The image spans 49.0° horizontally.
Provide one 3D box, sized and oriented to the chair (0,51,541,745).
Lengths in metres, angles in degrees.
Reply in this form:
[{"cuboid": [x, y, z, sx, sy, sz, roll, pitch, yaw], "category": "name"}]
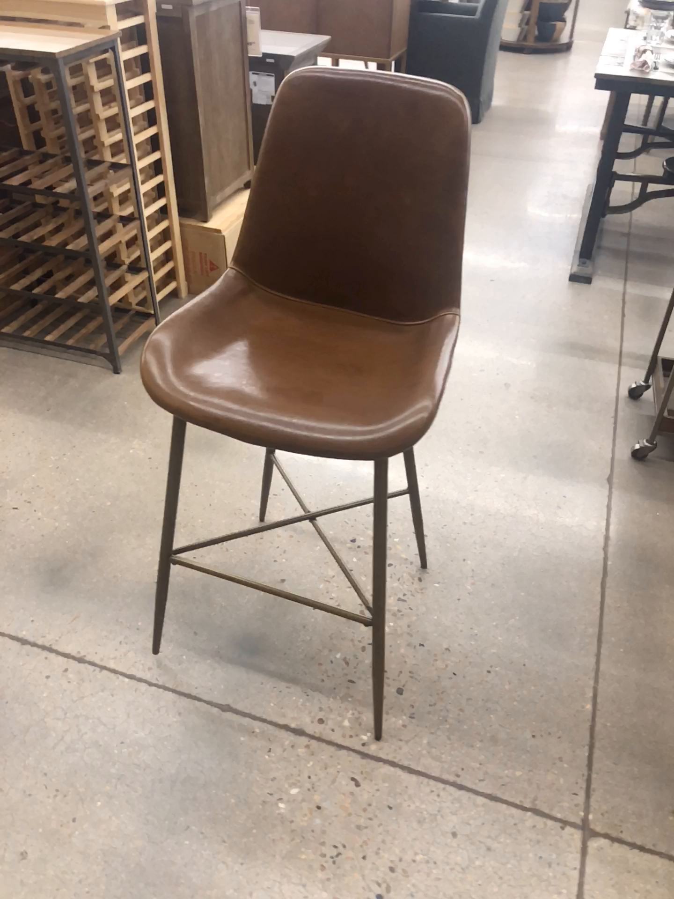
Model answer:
[{"cuboid": [-0.065, -0.090, 1.415, 0.602, 1.055, 0.613, 15, 40, 16], "category": "chair"}]
